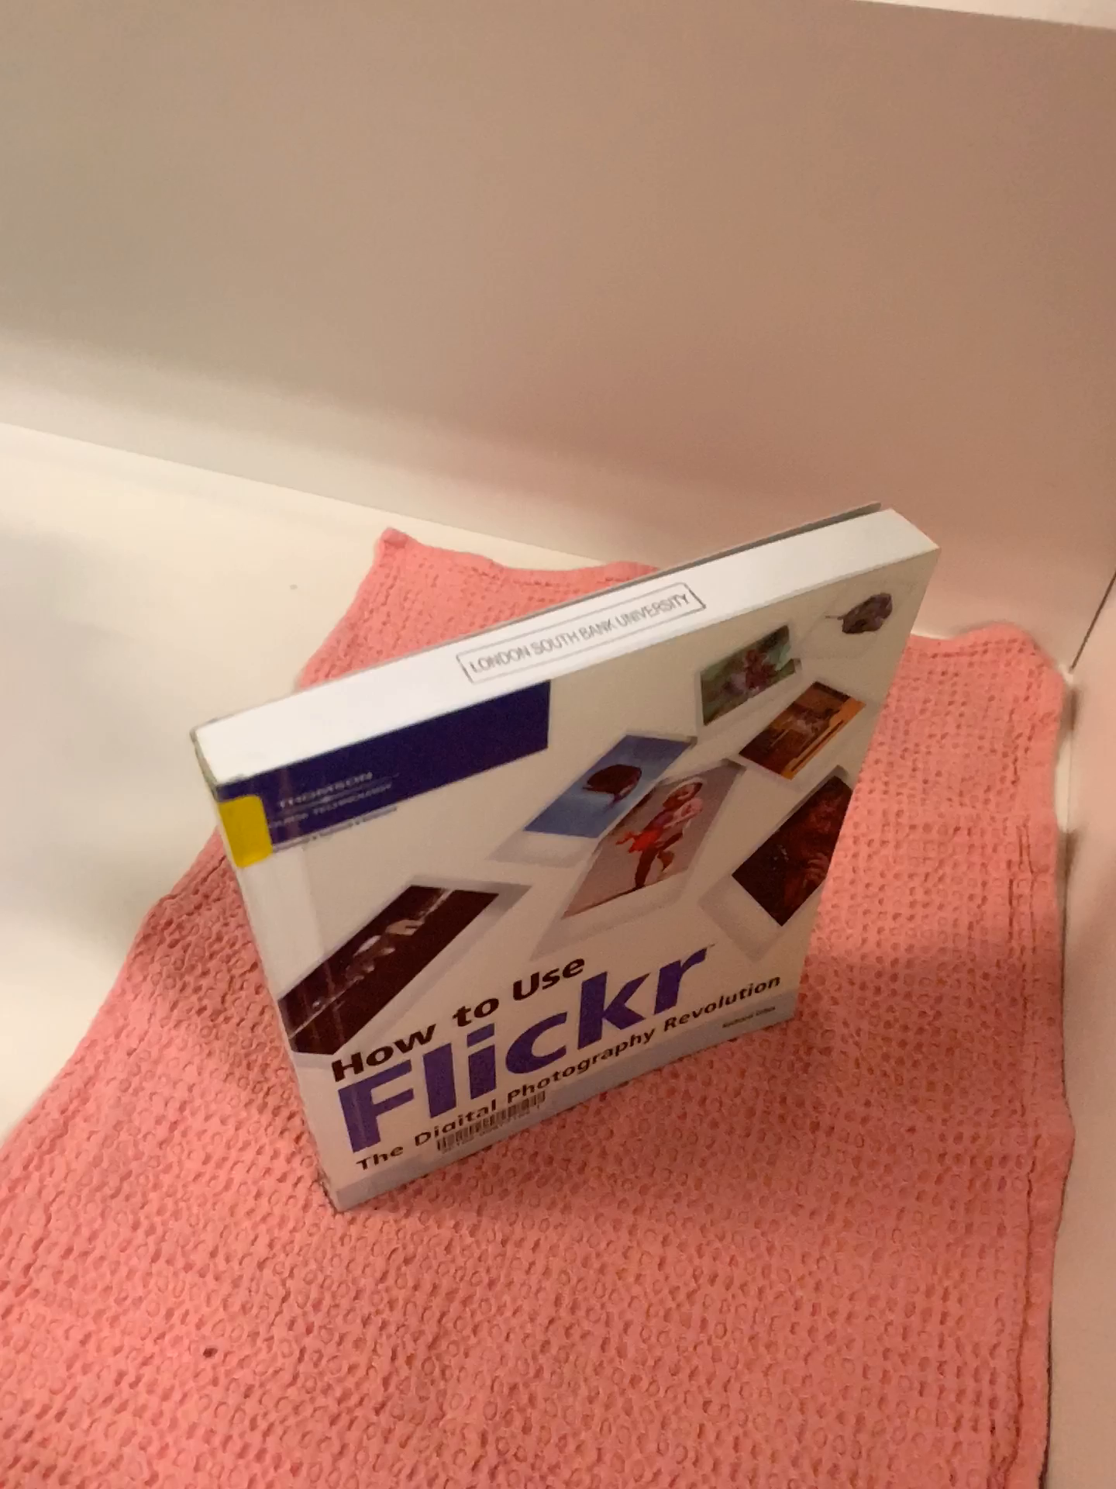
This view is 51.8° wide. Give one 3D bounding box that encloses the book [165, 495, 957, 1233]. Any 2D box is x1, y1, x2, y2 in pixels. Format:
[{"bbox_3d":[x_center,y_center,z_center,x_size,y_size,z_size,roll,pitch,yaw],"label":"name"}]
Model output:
[{"bbox_3d":[0.005,0.050,0.346,0.191,0.228,0.025,-19,50,-19],"label":"book"}]
